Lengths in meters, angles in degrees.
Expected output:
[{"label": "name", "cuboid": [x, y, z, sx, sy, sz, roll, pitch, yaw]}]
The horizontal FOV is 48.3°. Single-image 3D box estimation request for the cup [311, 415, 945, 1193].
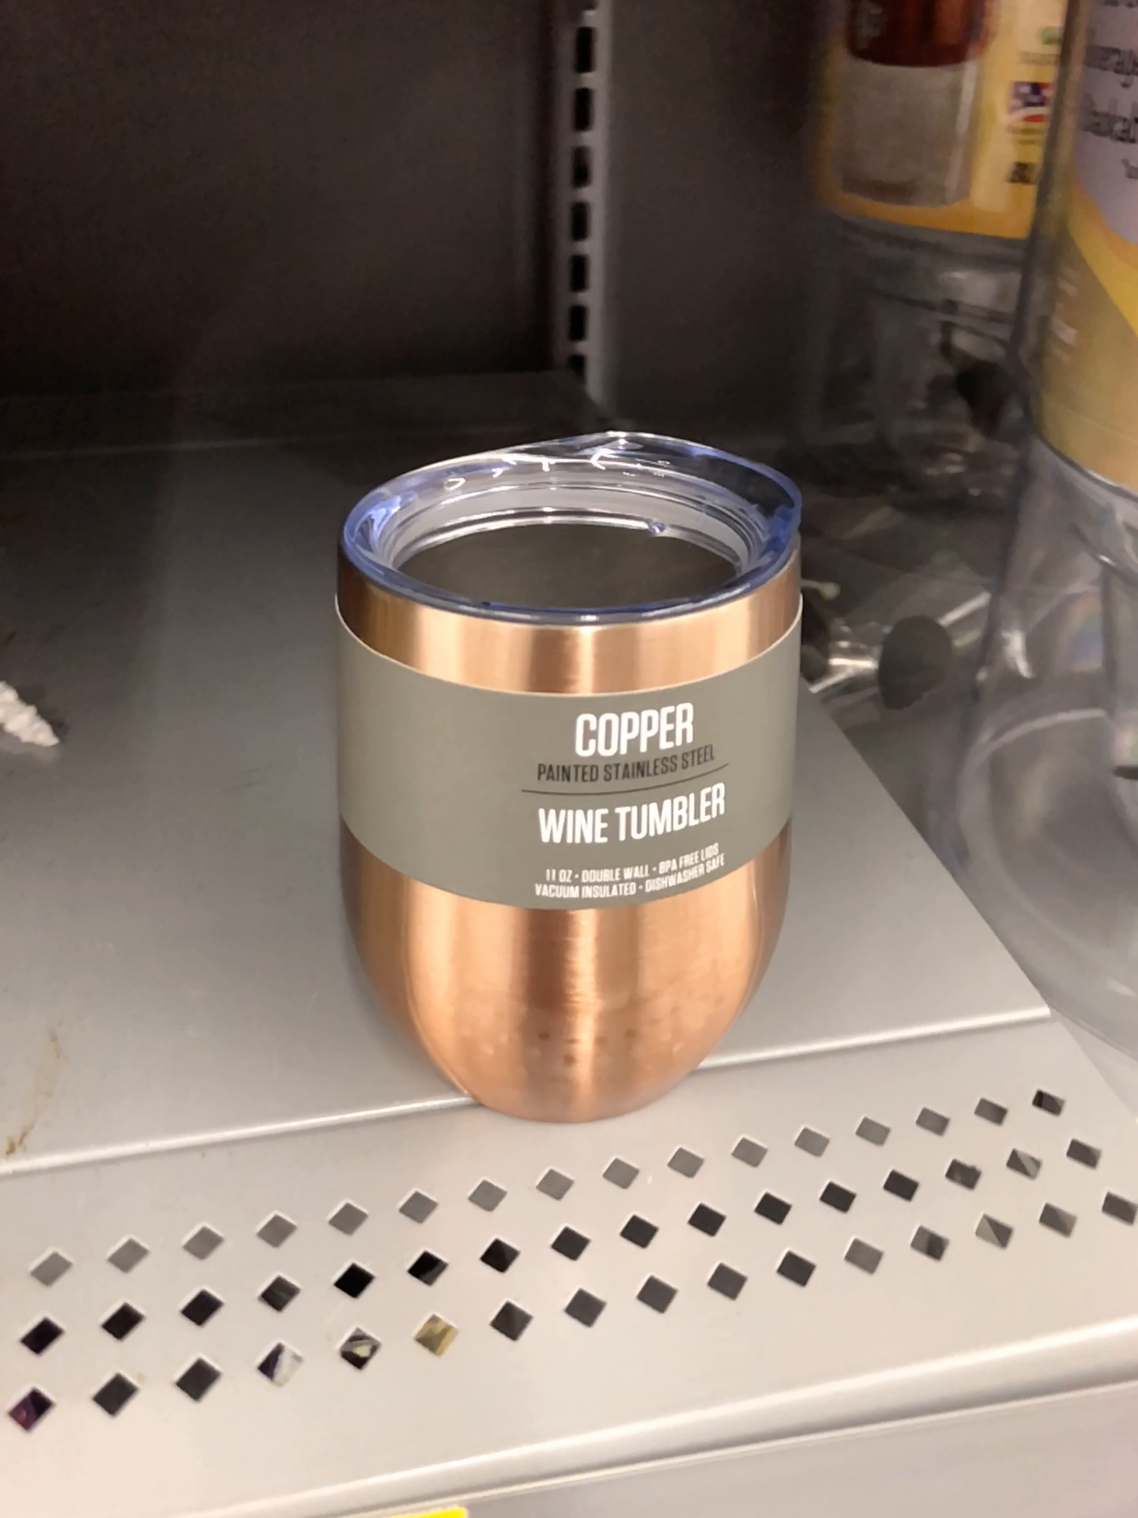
[{"label": "cup", "cuboid": [0.004, 0.007, 0.244, 0.088, 0.121, 0.068, -7, 35, -14]}]
